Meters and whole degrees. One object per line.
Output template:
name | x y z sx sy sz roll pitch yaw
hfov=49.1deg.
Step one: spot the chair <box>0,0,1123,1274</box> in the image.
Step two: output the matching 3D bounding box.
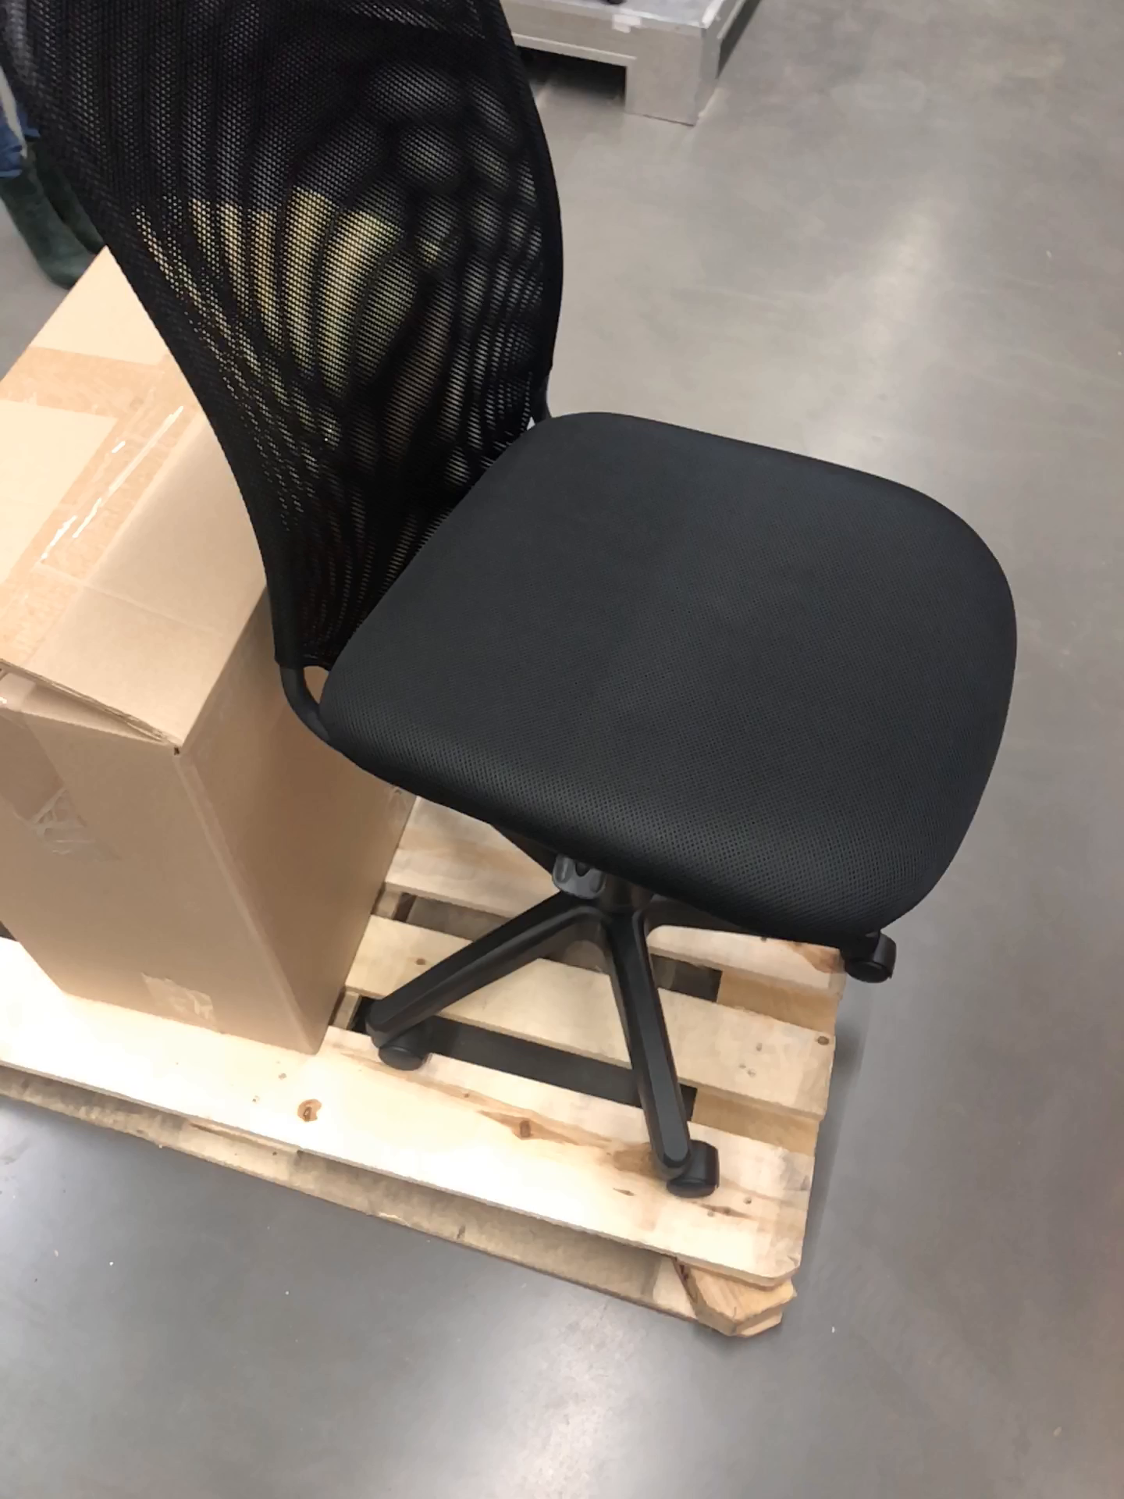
chair | 0.104 -0.111 0.995 0.570 1.035 0.603 23 58 14
